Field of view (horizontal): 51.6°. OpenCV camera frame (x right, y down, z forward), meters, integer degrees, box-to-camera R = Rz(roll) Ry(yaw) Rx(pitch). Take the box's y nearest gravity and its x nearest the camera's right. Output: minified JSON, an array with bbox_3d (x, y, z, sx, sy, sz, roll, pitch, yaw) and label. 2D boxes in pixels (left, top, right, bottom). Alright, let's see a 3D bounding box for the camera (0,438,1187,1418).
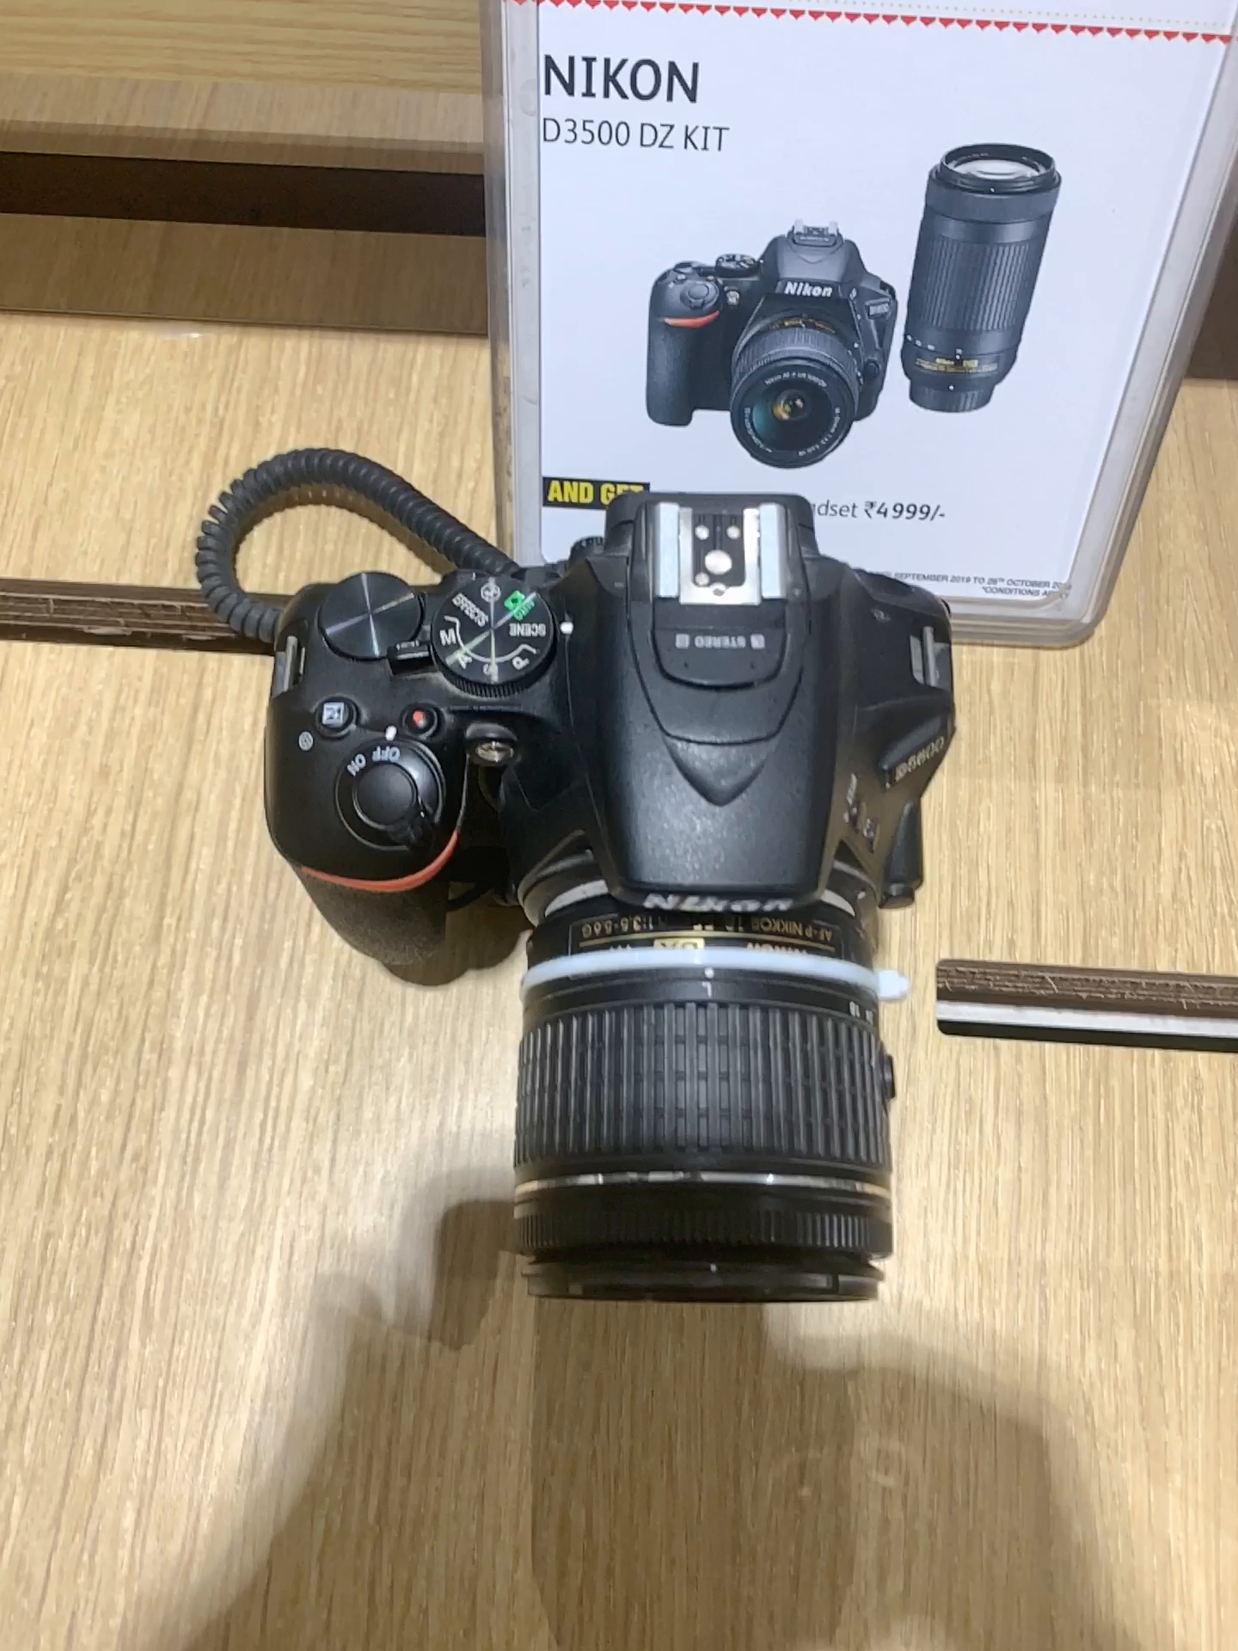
[{"bbox_3d":[-0.001,0.022,0.205,0.130,0.100,0.120,3,69,2],"label":"camera"}]
